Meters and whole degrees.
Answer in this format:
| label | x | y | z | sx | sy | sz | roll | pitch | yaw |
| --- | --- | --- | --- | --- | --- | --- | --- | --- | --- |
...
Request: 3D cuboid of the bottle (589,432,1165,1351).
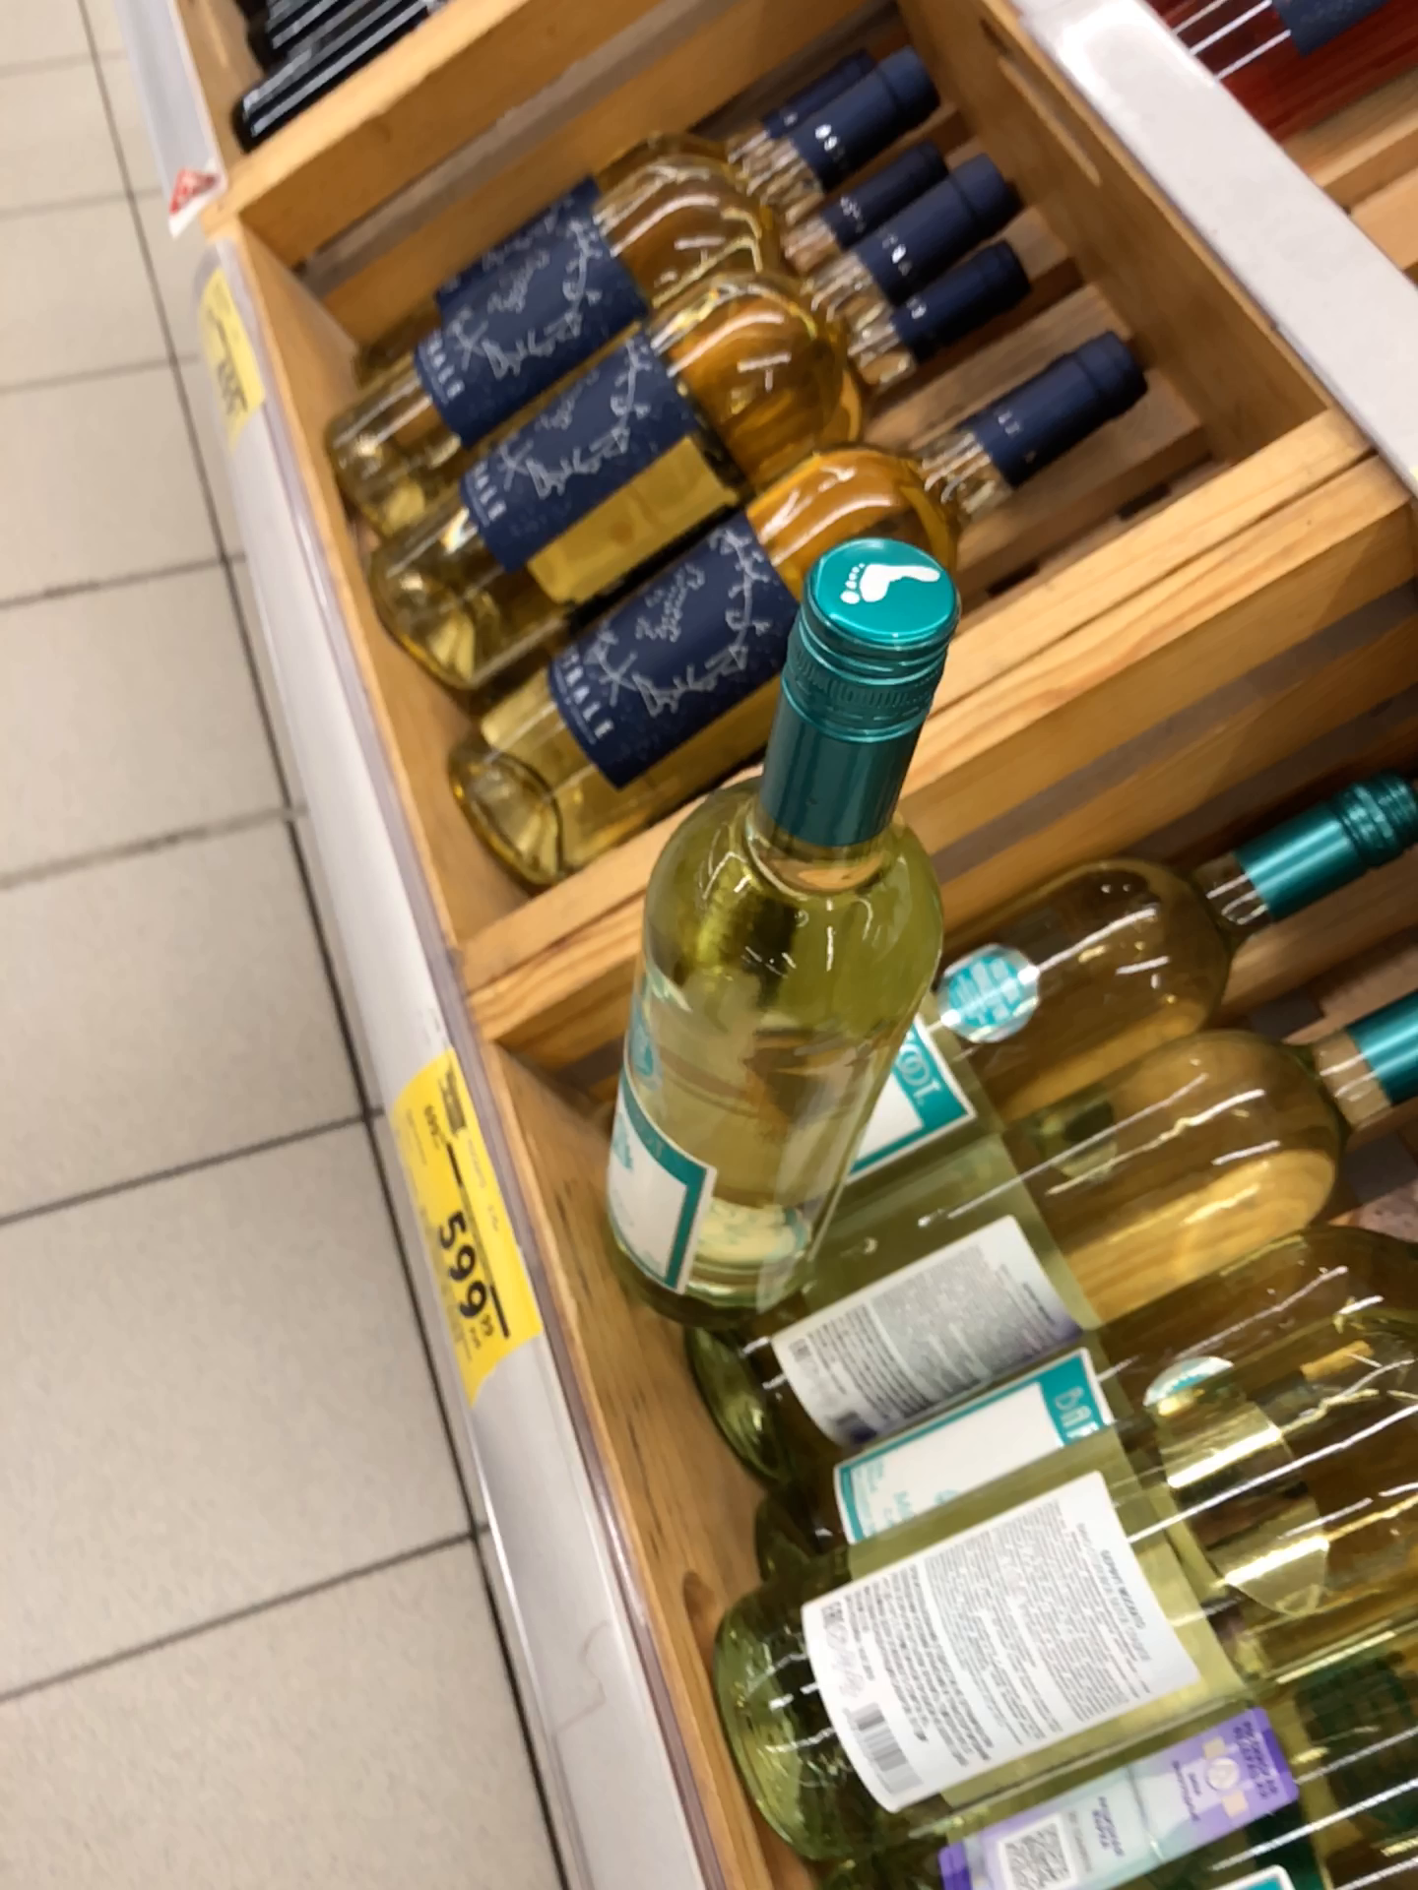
| label | x | y | z | sx | sy | sz | roll | pitch | yaw |
| --- | --- | --- | --- | --- | --- | --- | --- | --- | --- |
| bottle | 0.020 | 0.012 | 0.416 | 0.080 | 0.289 | 0.080 | 3 | 55 | -5 |
